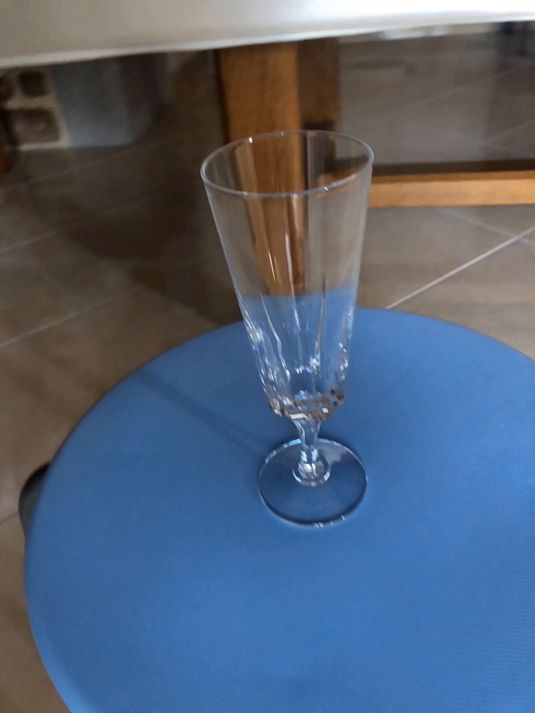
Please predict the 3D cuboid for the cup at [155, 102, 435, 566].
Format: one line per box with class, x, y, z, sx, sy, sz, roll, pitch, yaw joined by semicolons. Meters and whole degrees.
cup;0.015;-0.005;0.265;0.070;0.179;0.080;-21;39;-18
